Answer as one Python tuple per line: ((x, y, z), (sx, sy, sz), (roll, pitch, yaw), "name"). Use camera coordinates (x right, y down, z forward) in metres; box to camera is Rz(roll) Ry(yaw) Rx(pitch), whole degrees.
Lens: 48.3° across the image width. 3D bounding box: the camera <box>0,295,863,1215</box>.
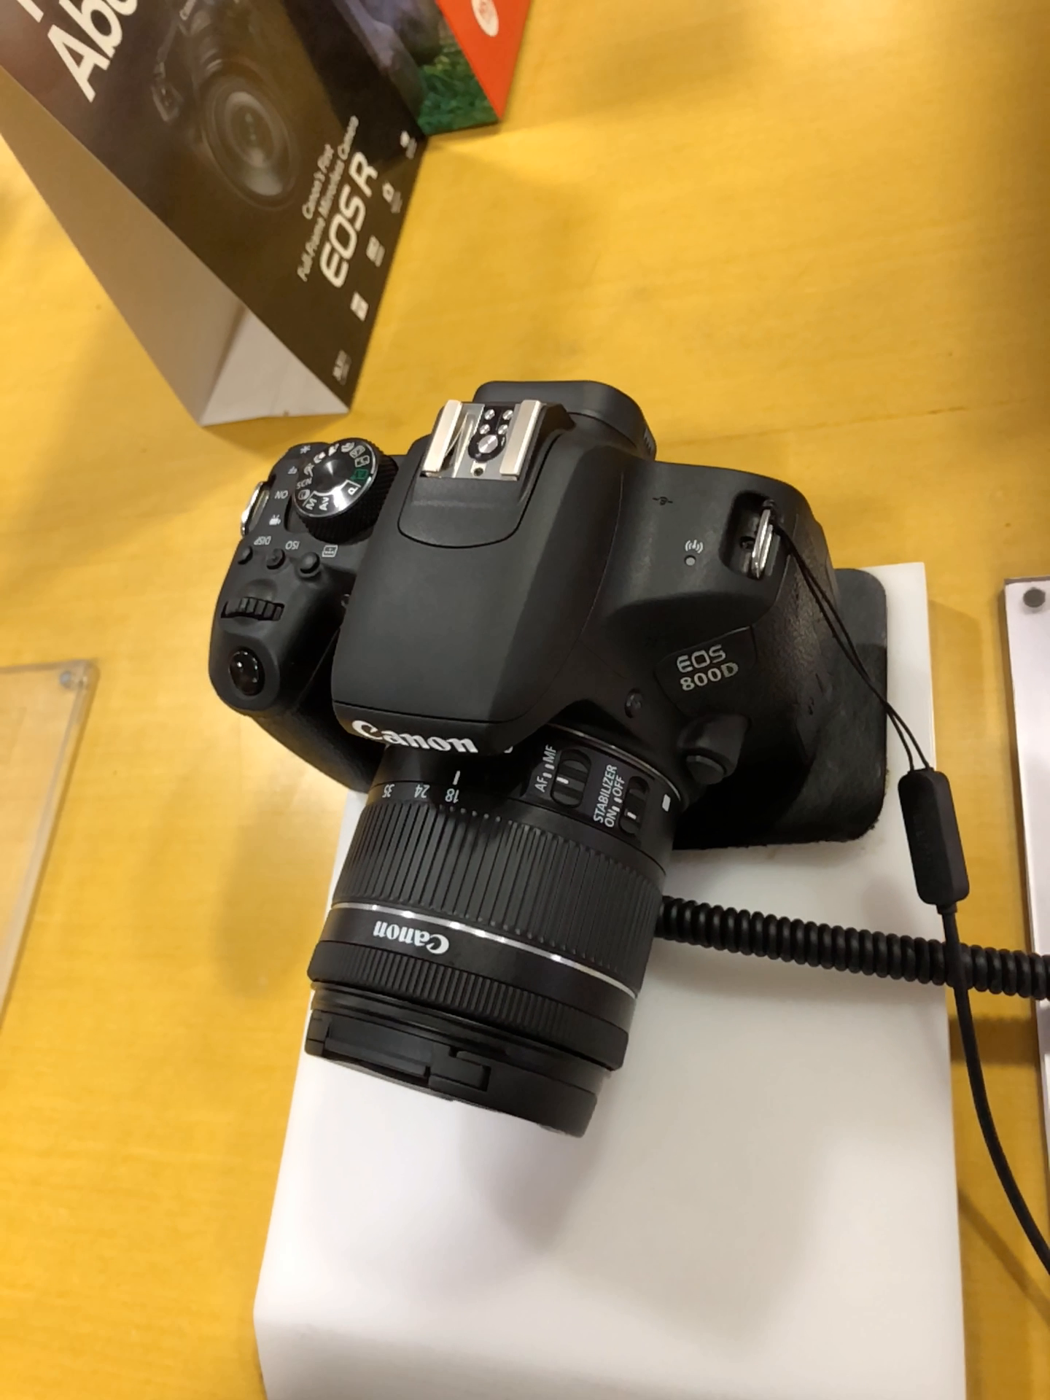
((-0.013, 0.009, 0.220), (0.120, 0.090, 0.130), (6, 68, 25), "camera")
